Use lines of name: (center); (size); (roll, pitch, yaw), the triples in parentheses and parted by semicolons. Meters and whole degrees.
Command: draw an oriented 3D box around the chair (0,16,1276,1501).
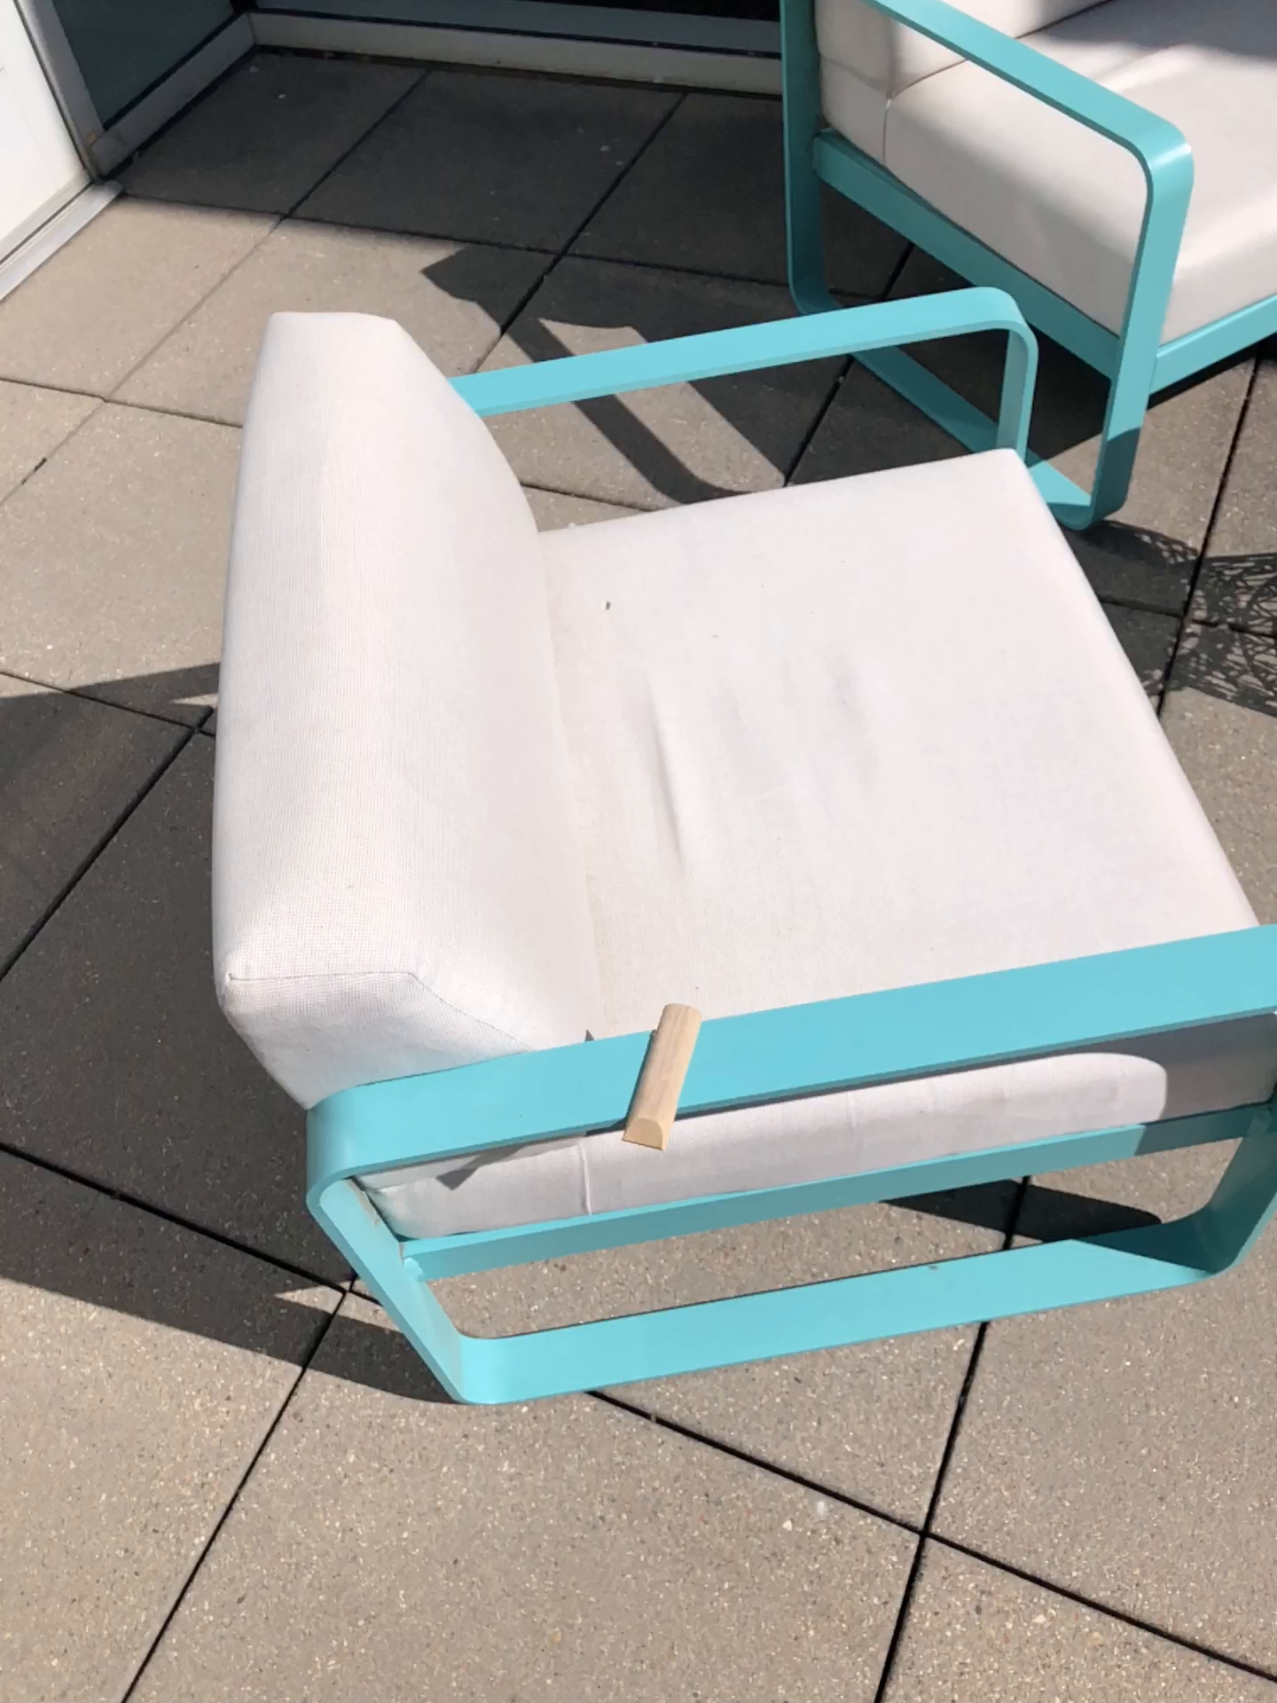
chair: (0.057, -0.077, 1.276); (0.870, 0.767, 0.903); (-12, 52, -2)
